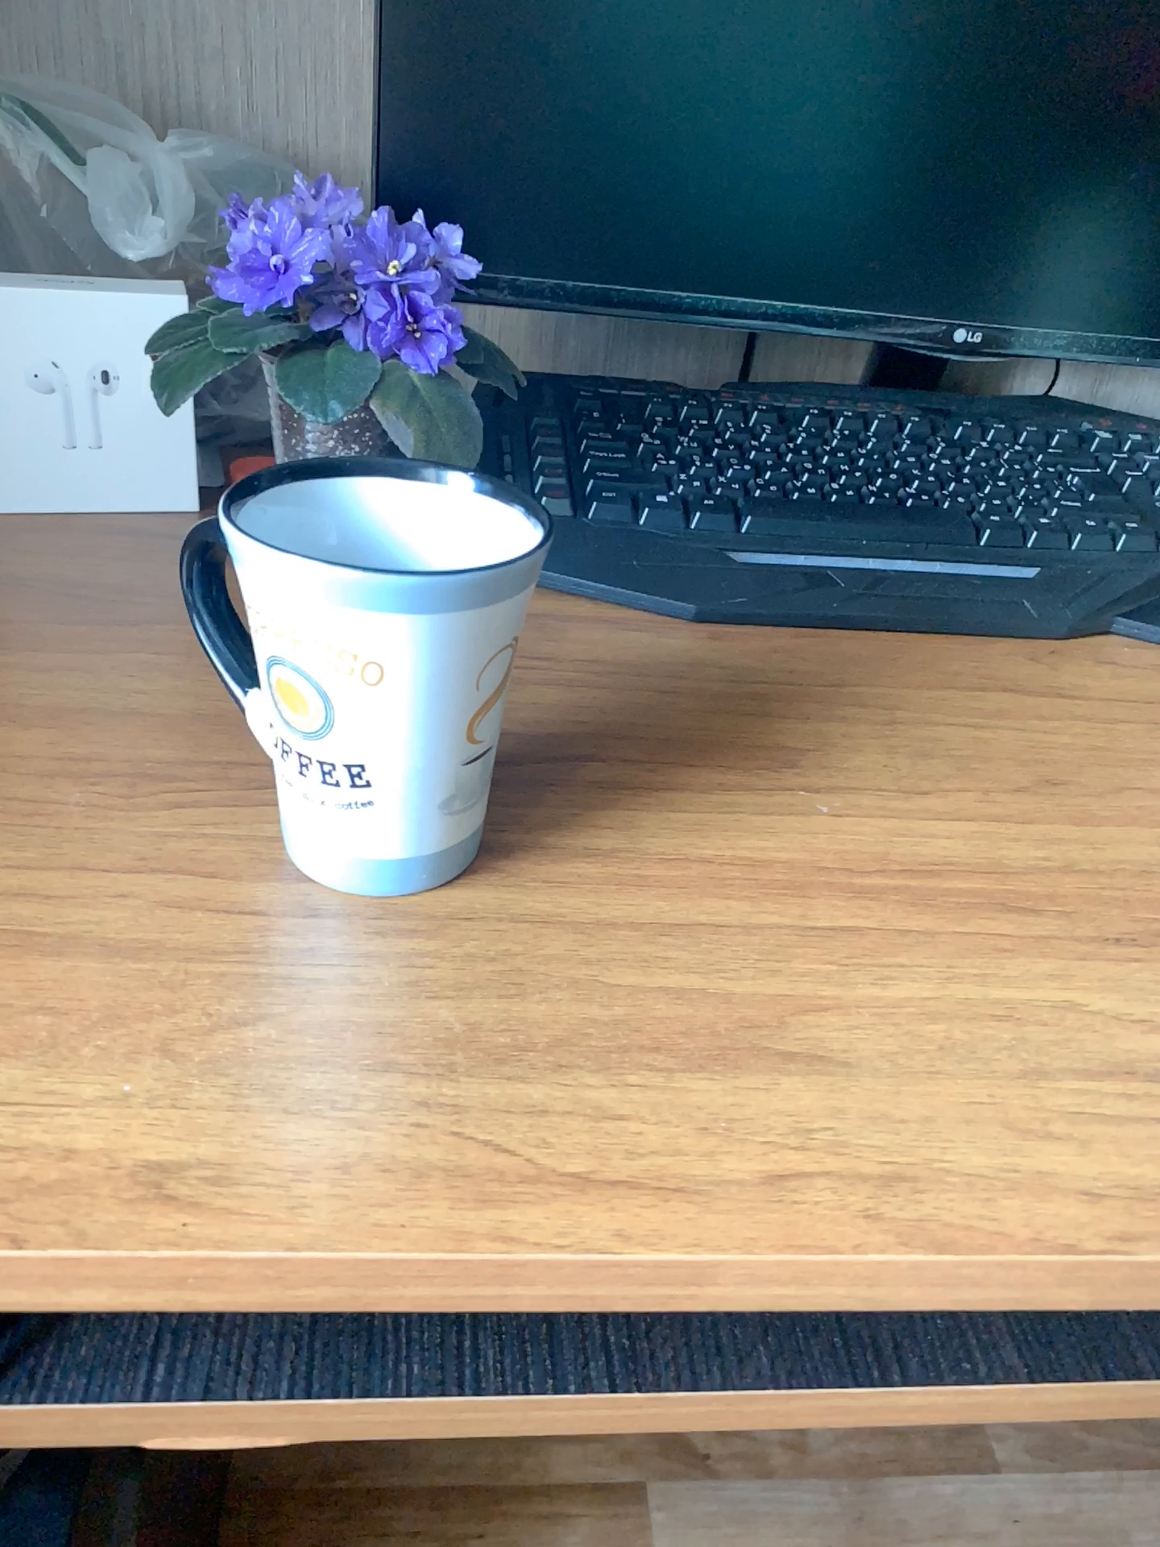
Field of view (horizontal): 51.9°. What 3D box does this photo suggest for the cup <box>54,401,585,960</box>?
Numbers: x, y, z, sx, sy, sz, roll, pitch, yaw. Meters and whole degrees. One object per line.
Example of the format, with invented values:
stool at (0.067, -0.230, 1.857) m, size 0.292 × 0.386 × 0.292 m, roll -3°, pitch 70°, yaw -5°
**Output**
cup at (-0.068, -0.031, 0.313) m, size 0.110 × 0.100 × 0.070 m, roll 25°, pitch 35°, yaw 29°
